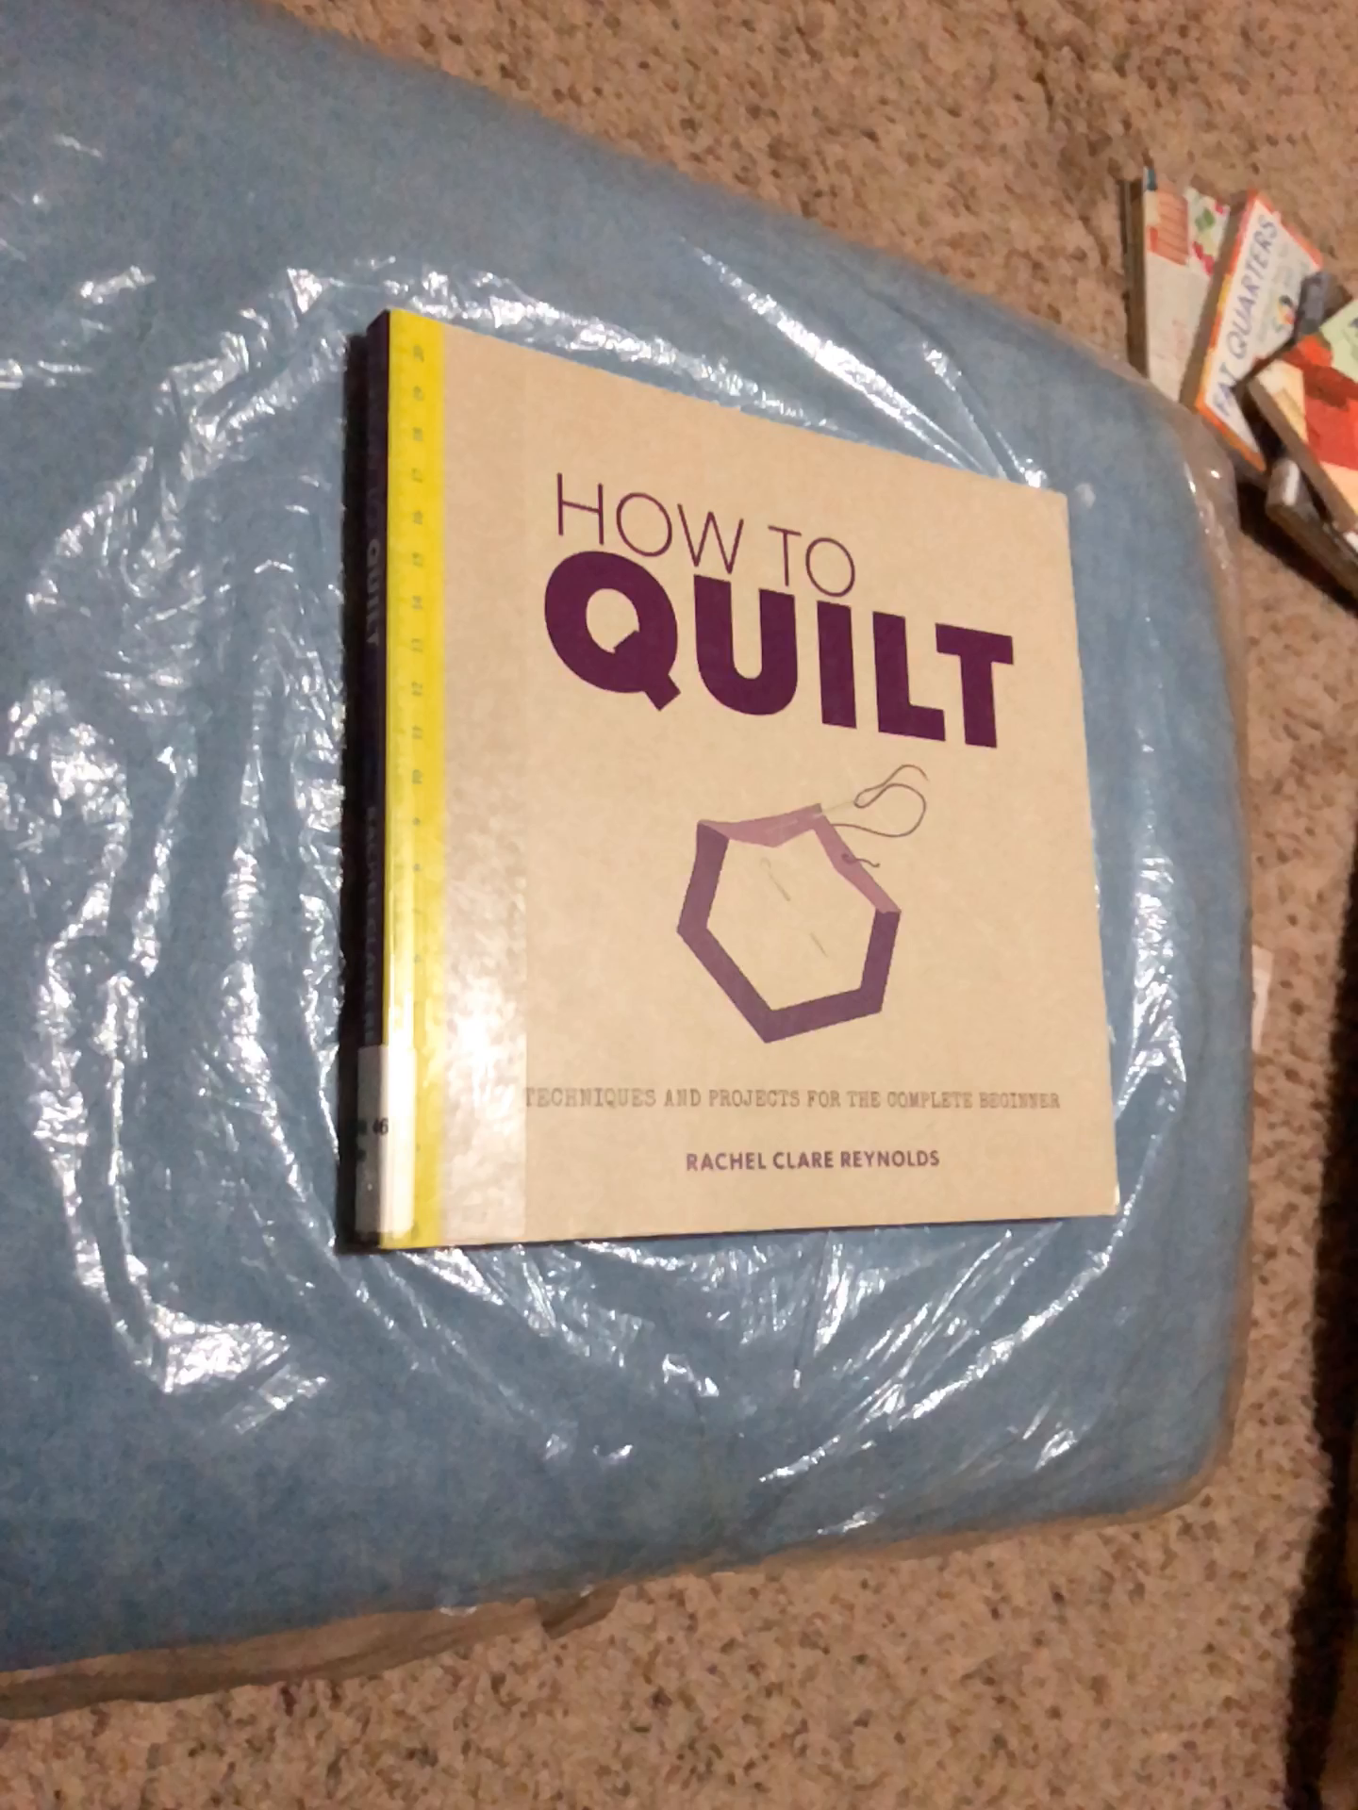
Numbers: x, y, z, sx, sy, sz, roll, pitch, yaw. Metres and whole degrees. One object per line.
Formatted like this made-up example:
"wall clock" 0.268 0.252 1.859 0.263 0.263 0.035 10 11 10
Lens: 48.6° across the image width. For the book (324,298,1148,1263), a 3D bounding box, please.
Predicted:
"book" 0.024 -0.020 0.355 0.208 0.020 0.194 5 80 -30
